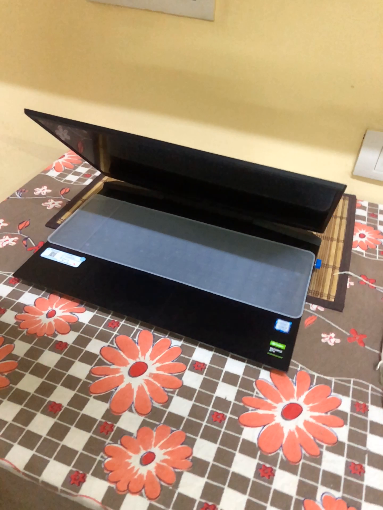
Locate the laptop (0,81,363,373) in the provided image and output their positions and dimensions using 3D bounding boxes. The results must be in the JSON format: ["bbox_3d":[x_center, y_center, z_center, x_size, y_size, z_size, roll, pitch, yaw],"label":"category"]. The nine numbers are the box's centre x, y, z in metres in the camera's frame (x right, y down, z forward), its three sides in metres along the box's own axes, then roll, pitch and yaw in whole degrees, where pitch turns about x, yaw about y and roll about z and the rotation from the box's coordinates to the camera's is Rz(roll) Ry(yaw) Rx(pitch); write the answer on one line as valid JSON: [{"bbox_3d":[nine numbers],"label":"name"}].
[{"bbox_3d":[-0.007,-0.061,0.528,0.356,0.164,0.238,16,46,16],"label":"laptop"}]
